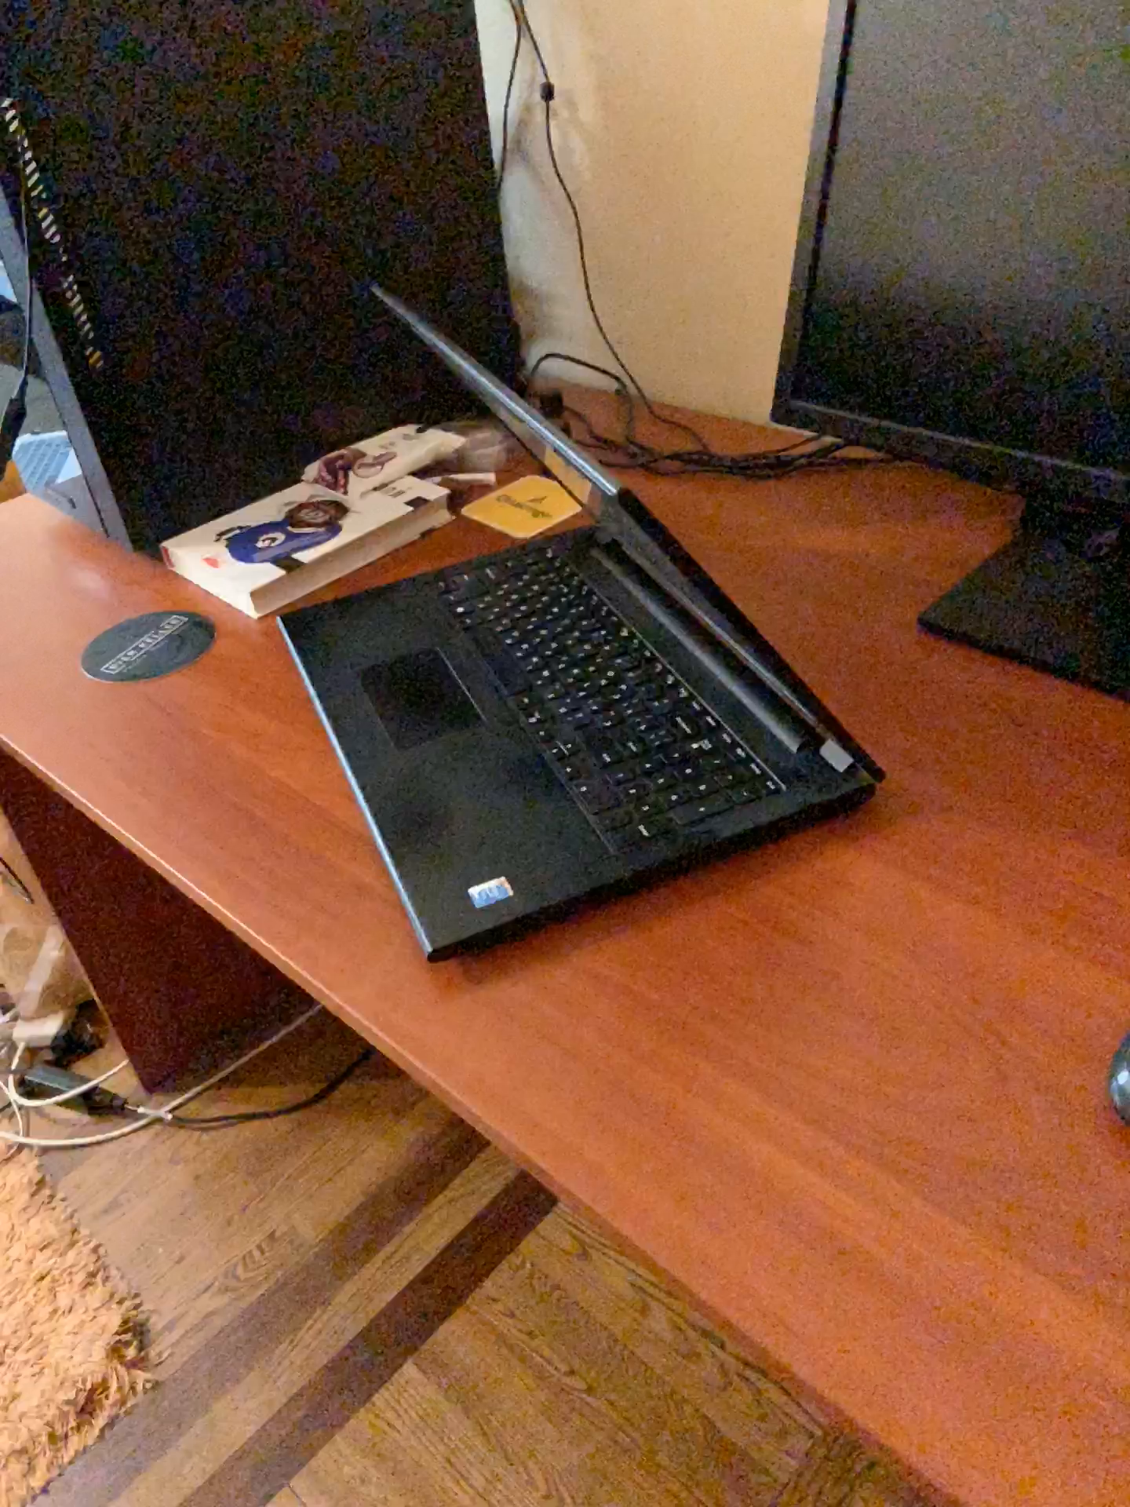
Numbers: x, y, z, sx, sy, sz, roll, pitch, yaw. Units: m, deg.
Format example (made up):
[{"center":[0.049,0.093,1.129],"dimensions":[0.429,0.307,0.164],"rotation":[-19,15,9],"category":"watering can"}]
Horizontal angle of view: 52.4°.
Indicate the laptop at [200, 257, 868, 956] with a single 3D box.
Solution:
[{"center":[-0.039,-0.121,0.687],"dimensions":[0.245,0.202,0.376],"rotation":[-20,39,-14],"category":"laptop"}]
